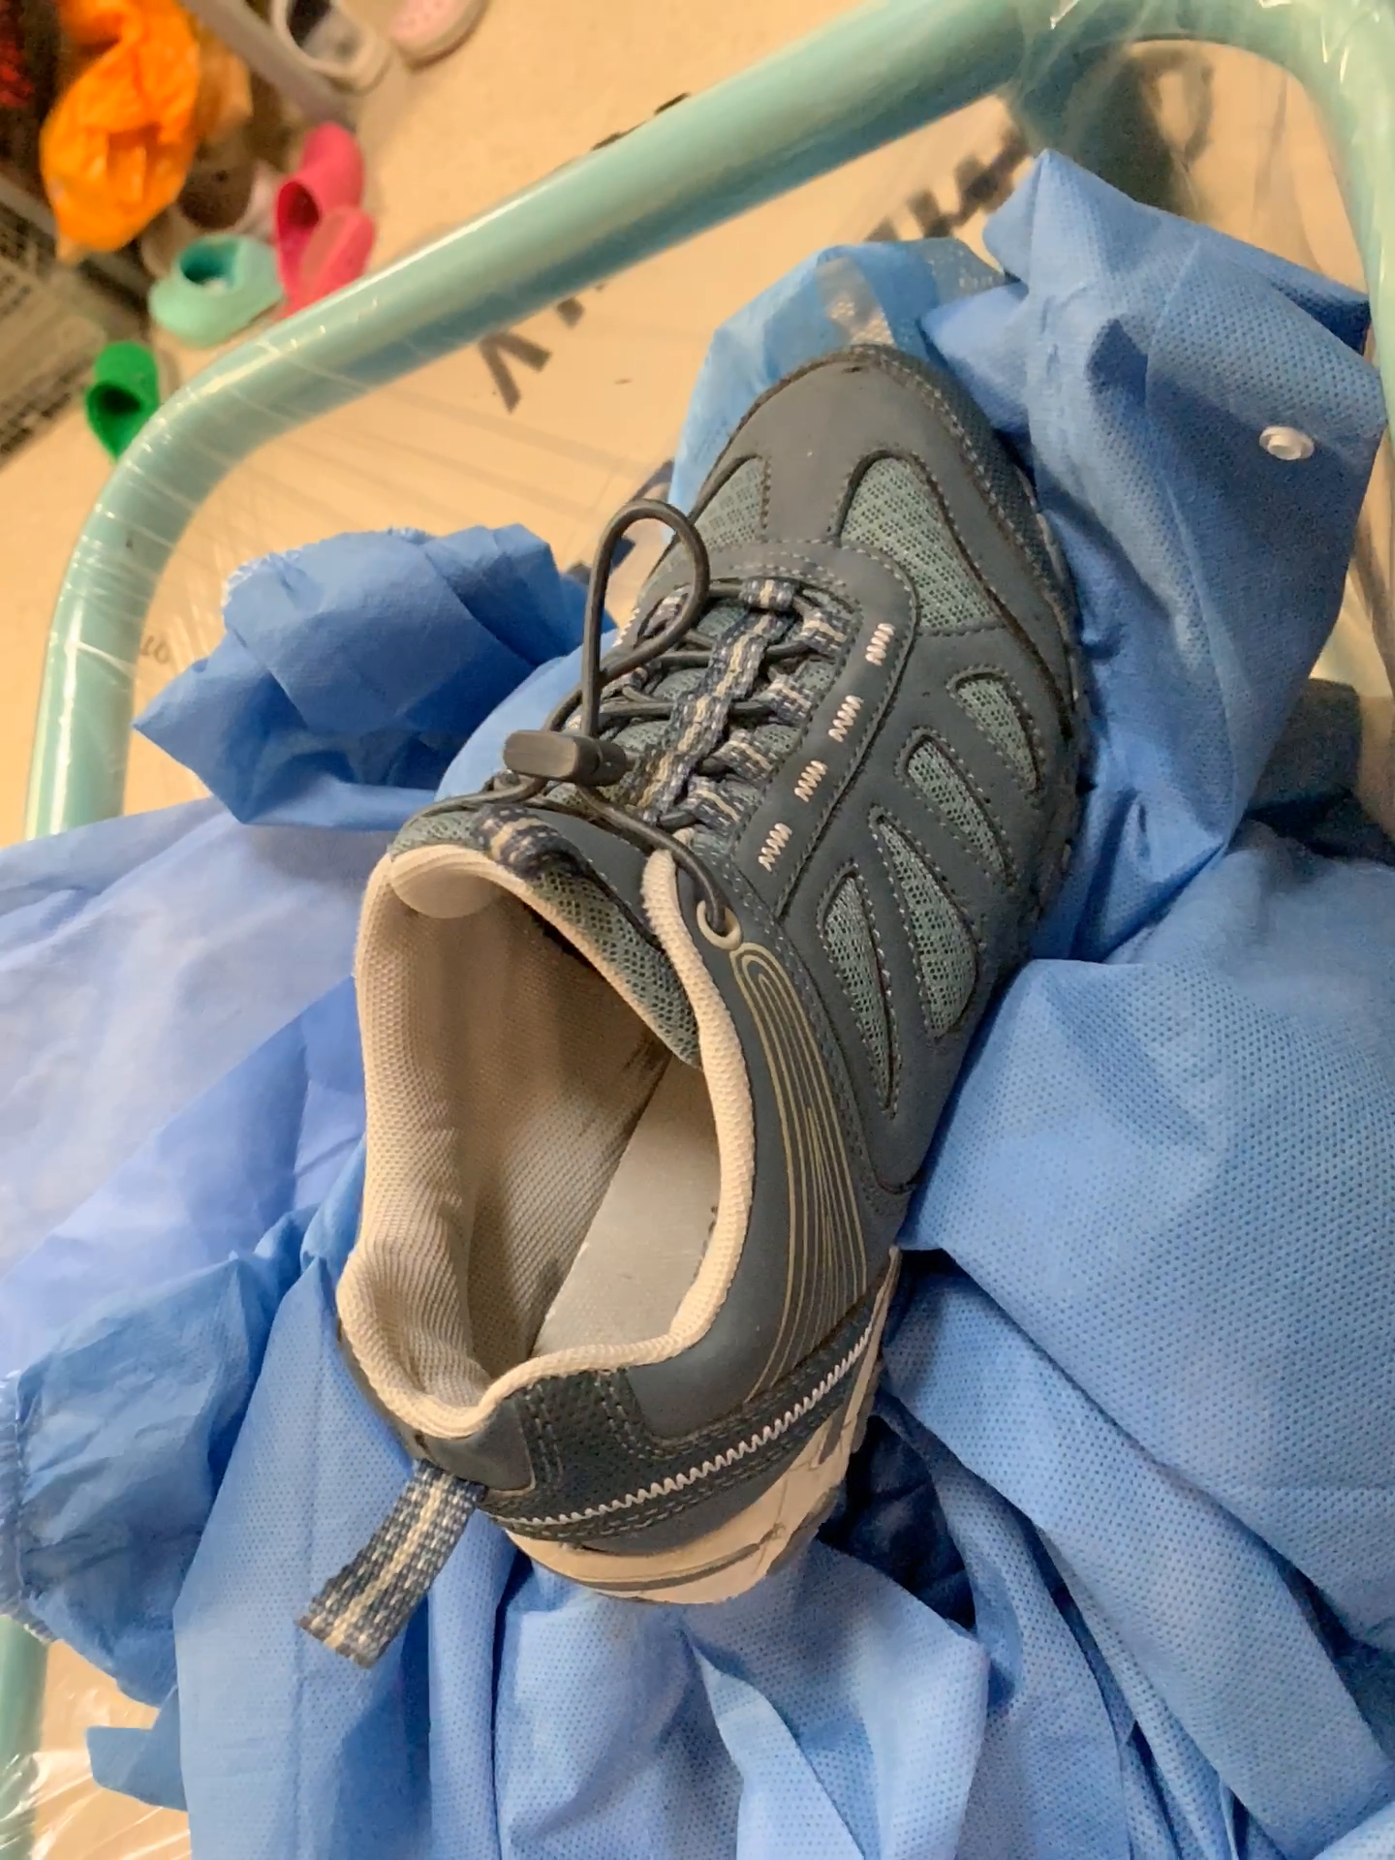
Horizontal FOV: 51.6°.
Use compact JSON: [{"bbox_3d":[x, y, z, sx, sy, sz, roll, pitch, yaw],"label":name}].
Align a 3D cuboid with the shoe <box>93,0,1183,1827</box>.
[{"bbox_3d":[0.001,-0.006,0.255,0.102,0.109,0.240,7,81,35],"label":"shoe"}]
